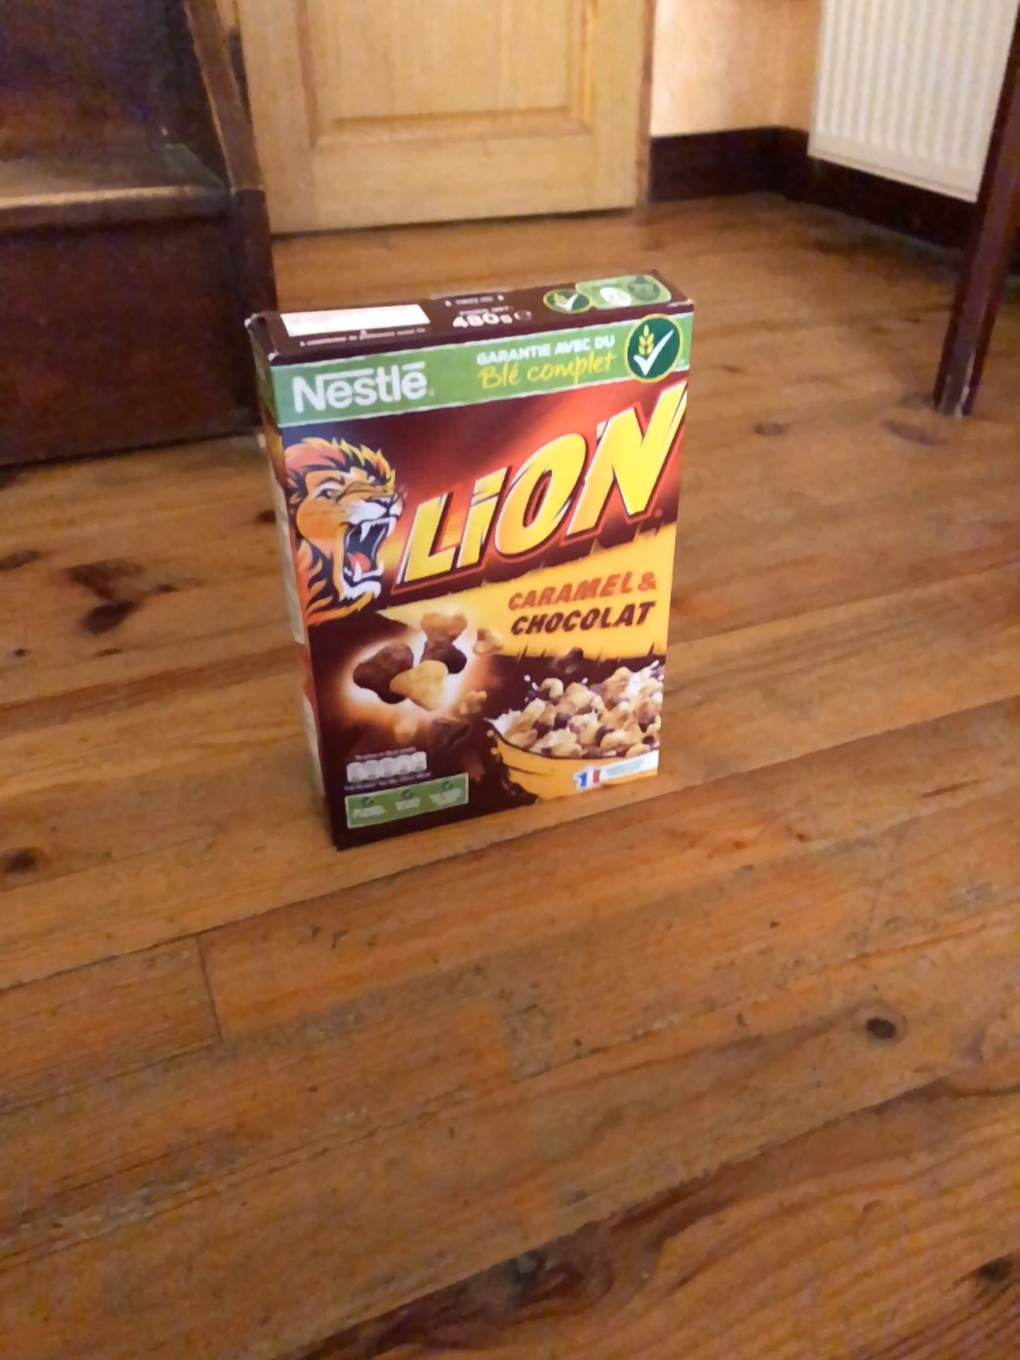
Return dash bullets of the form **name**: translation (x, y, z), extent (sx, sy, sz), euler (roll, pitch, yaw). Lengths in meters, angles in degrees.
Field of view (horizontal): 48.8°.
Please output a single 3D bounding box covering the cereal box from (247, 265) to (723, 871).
- **cereal box**: translation (-0.009, -0.050, 0.570), extent (0.200, 0.278, 0.060), euler (-11, 35, -16)
